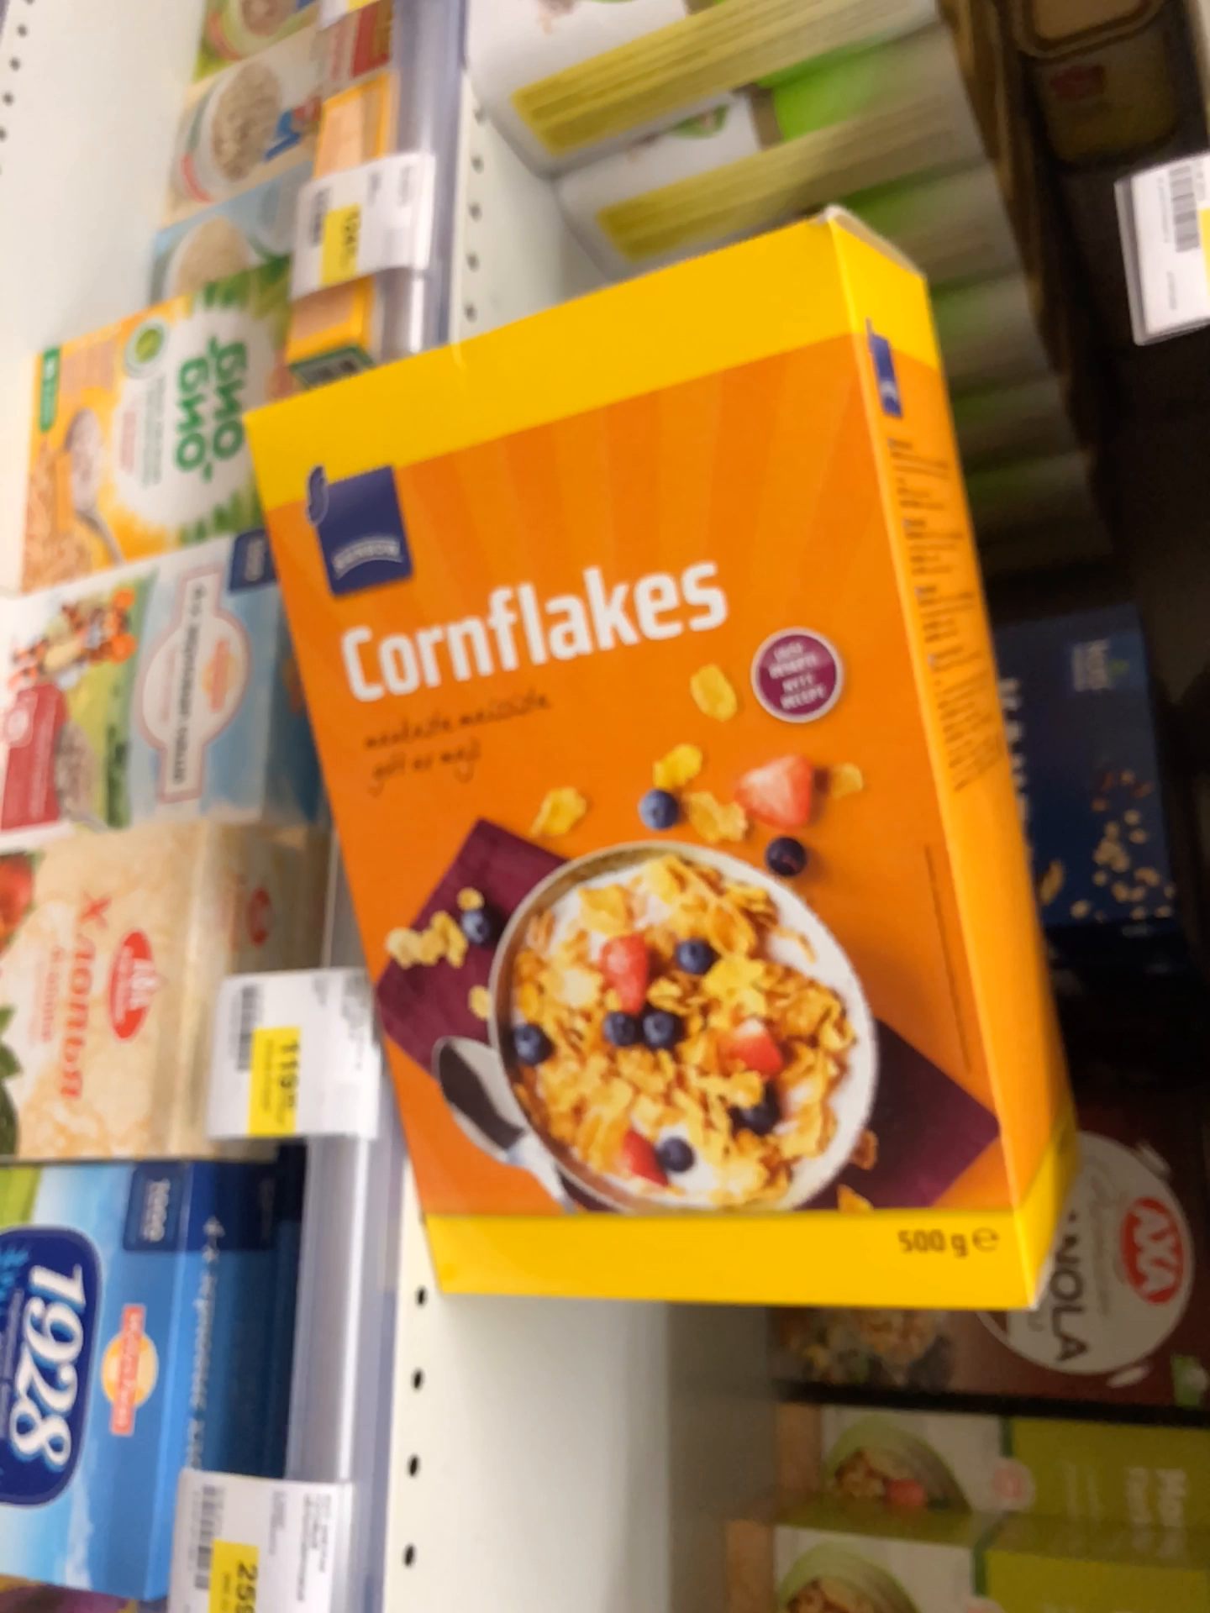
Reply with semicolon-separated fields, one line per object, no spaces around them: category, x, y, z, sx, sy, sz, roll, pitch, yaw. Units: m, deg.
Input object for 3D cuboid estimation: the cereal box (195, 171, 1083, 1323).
cereal box;0.018;-0.006;0.433;0.121;0.199;0.290;-22;102;-63
